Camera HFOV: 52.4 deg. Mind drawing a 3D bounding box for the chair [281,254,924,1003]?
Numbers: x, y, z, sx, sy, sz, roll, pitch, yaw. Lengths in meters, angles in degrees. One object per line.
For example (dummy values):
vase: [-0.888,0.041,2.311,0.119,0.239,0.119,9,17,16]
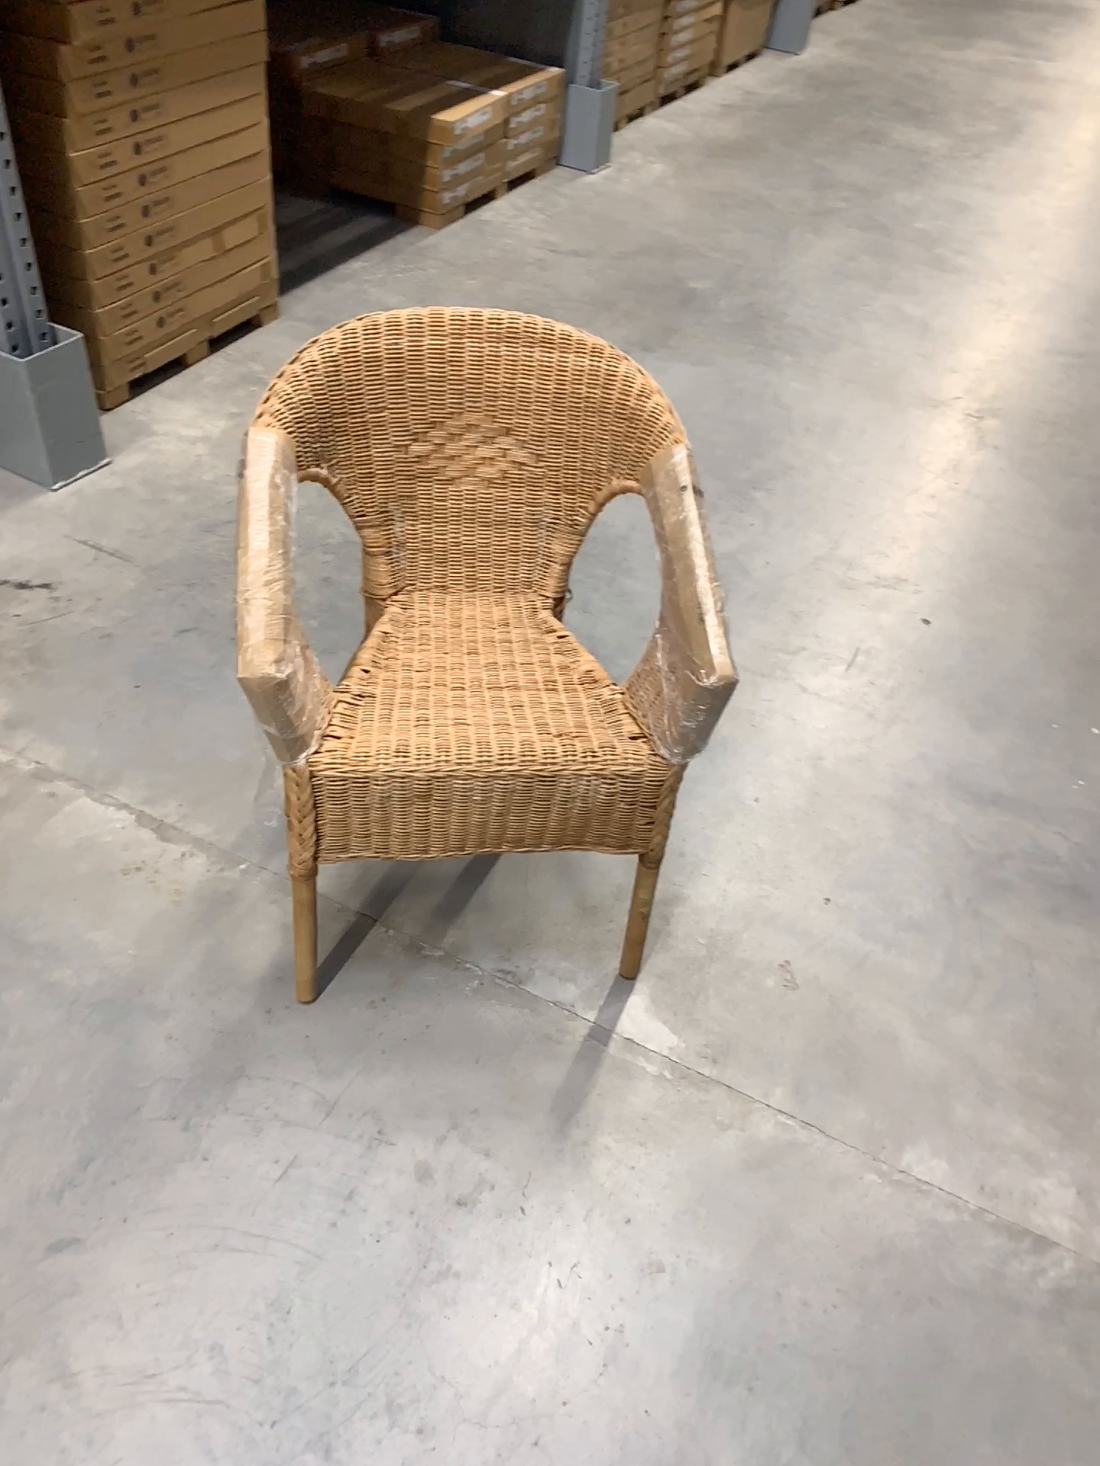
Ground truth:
chair: [0.031,-0.136,1.537,0.600,0.757,0.653,-3,45,-3]
